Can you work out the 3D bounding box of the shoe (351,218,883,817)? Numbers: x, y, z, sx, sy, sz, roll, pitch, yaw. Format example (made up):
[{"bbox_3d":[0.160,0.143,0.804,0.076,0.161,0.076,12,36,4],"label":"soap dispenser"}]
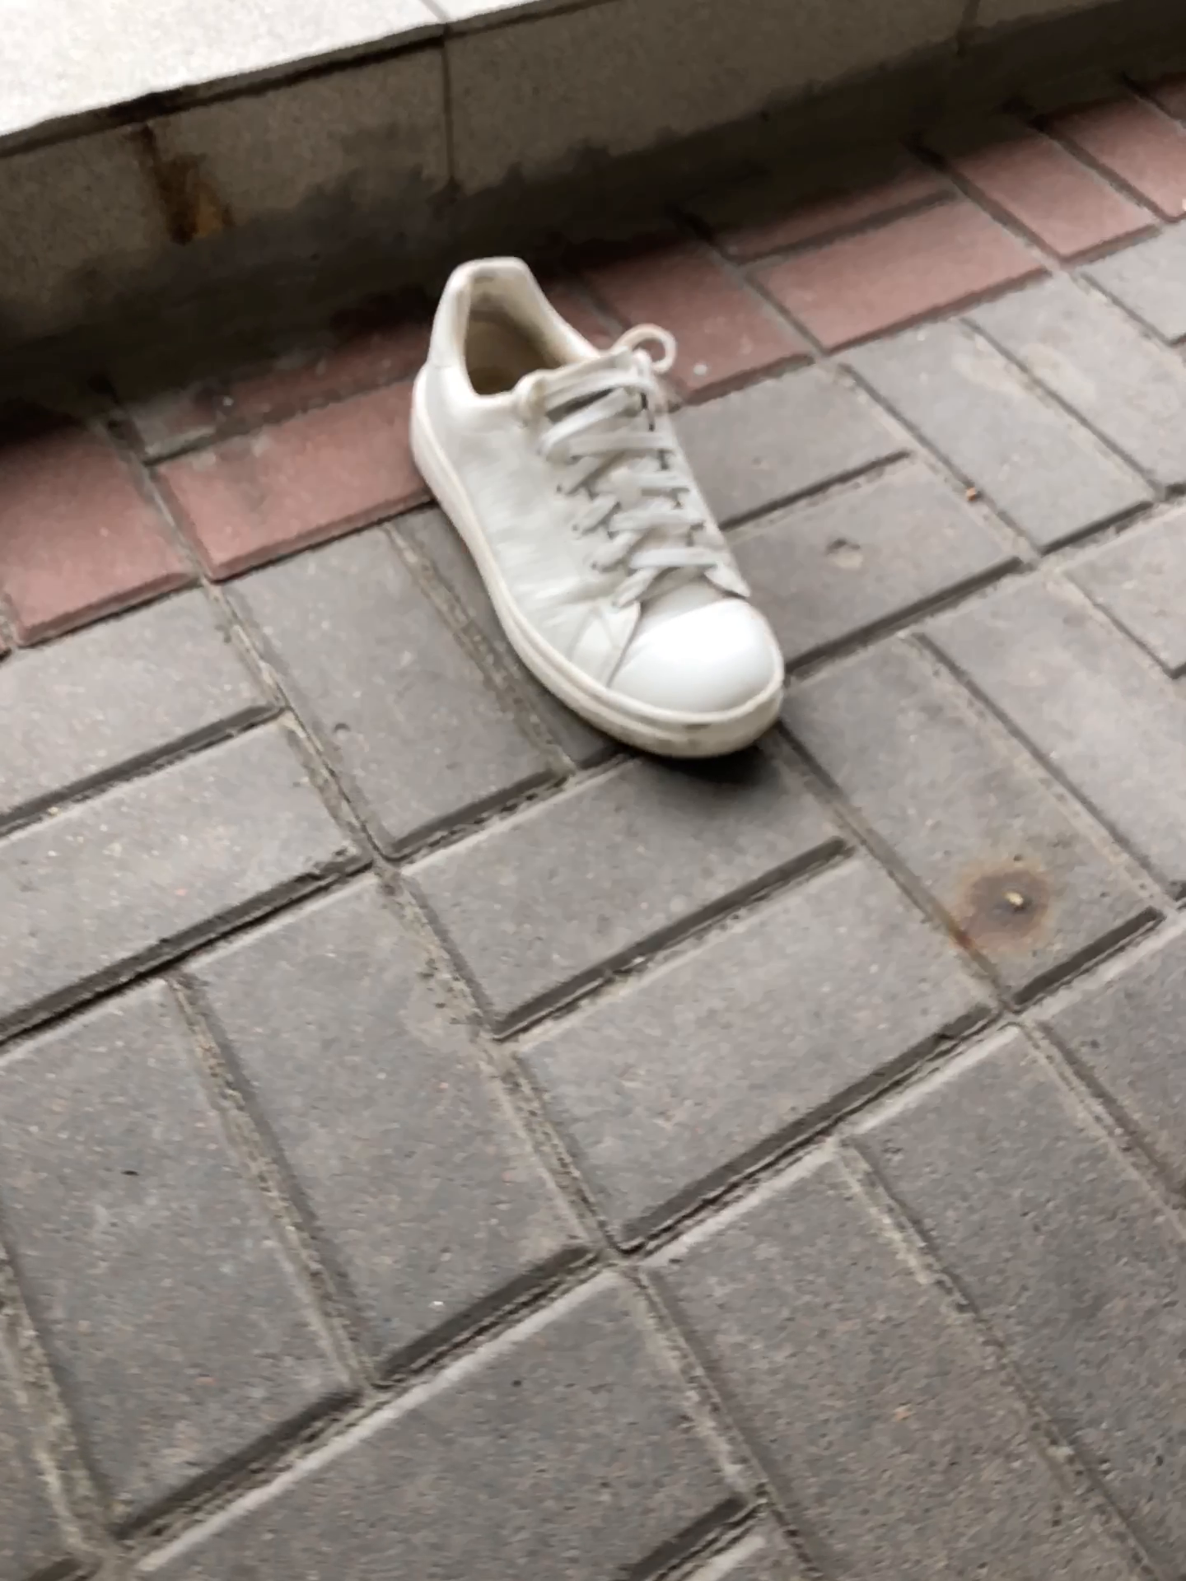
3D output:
[{"bbox_3d":[-0.004,-0.147,0.659,0.110,0.119,0.293,-24,58,-21],"label":"shoe"}]
